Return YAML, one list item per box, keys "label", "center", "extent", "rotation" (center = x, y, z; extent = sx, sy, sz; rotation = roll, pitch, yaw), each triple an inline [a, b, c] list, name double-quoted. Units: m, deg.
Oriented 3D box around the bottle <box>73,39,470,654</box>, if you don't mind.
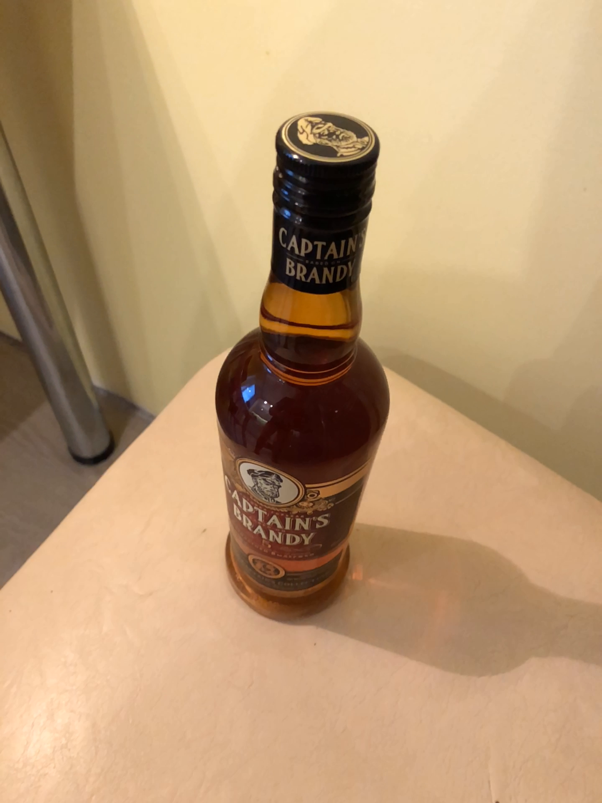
- label: "bottle"
  center: [-0.008, 0.010, 0.272]
  extent: [0.080, 0.258, 0.070]
  rotation: [19, 53, 13]
